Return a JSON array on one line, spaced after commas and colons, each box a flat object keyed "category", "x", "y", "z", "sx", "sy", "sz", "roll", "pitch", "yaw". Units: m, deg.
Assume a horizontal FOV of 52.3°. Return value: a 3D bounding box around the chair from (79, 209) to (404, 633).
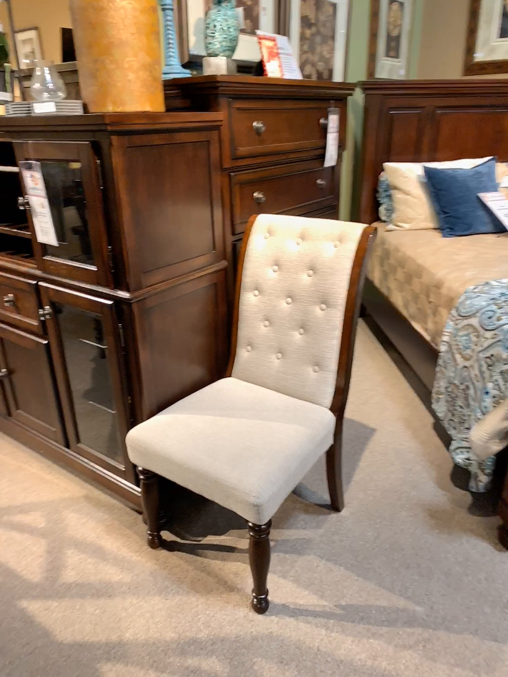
[{"category": "chair", "x": 0.006, "y": 0.156, "z": 1.605, "sx": 0.585, "sy": 0.950, "sz": 0.719, "roll": 14, "pitch": 27, "yaw": 32}]
